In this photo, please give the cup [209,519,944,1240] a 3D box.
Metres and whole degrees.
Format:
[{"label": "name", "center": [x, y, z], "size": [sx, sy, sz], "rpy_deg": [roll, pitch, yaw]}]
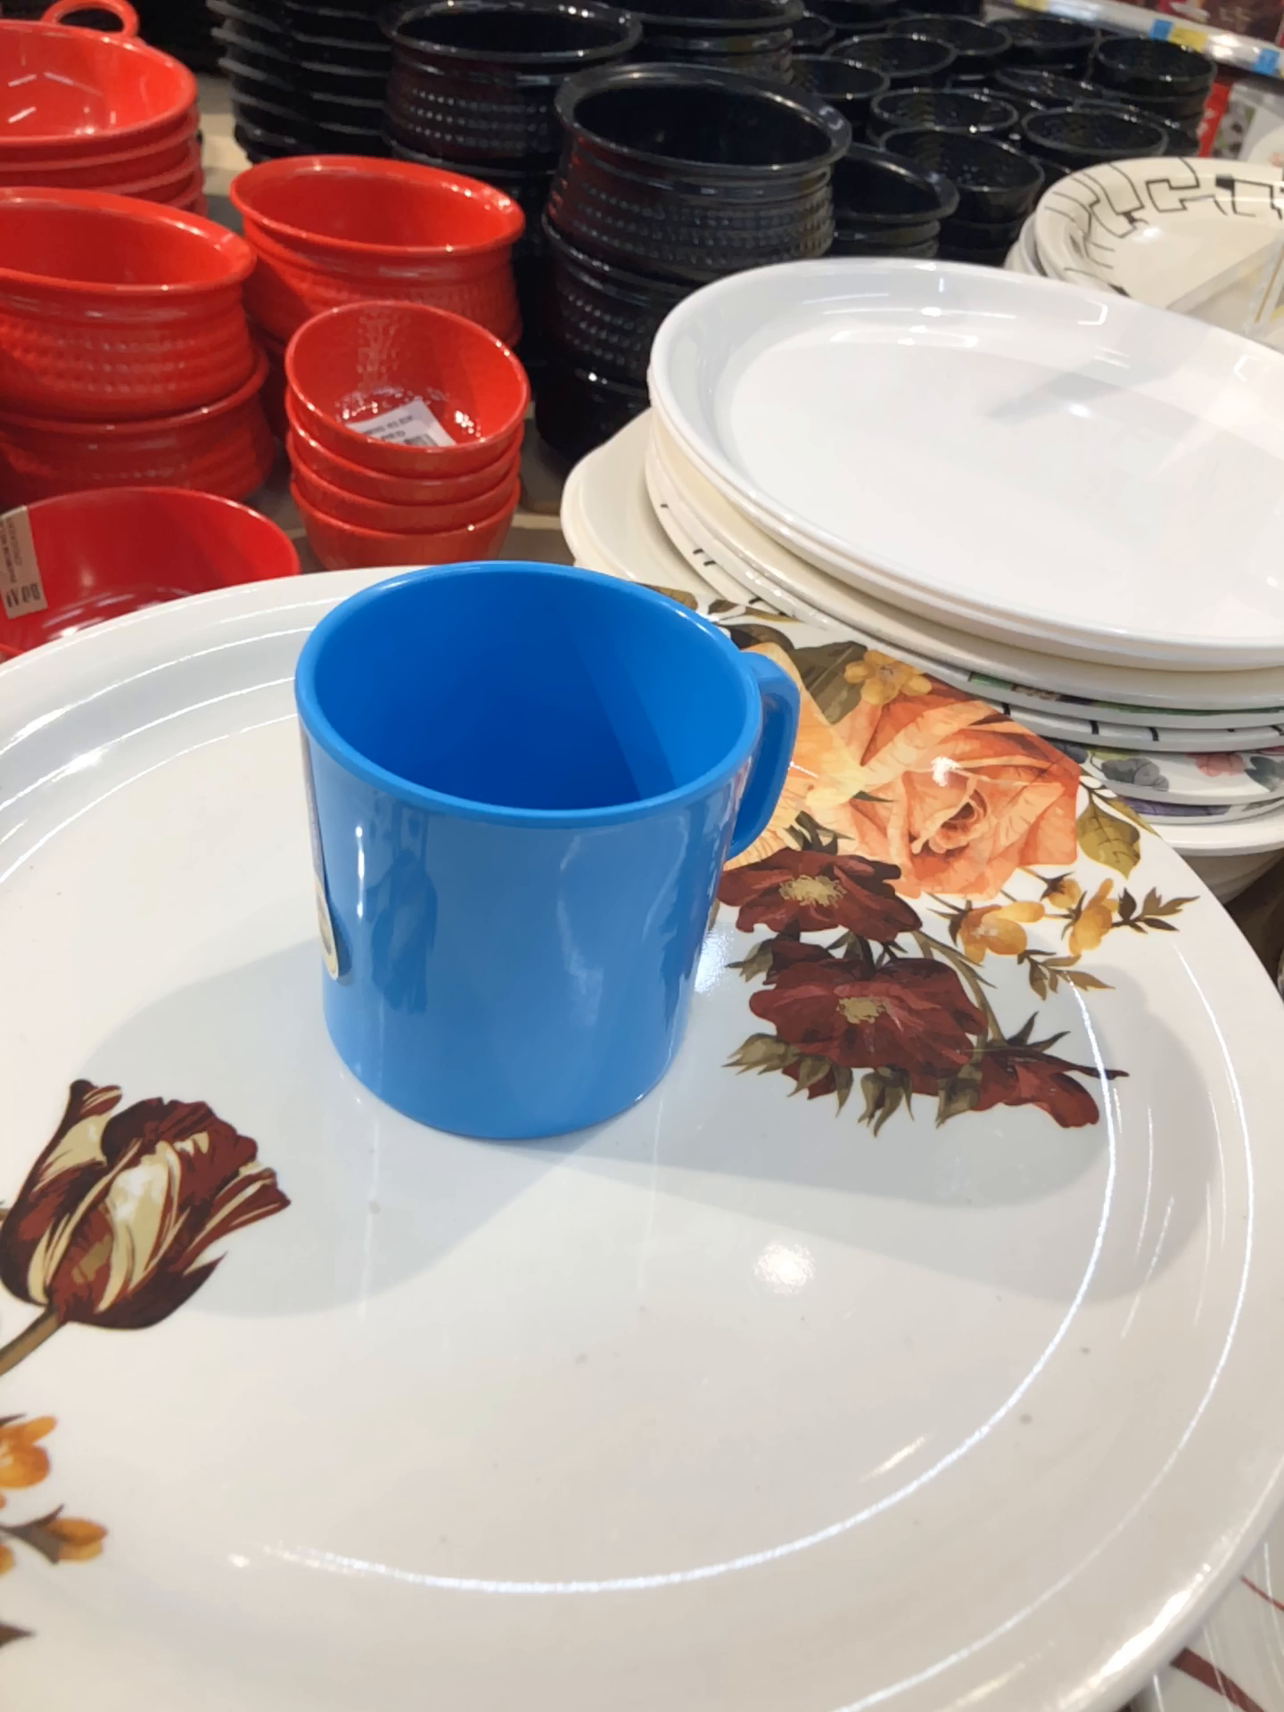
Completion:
[{"label": "cup", "center": [-0.016, 0.000, 0.291], "size": [0.110, 0.089, 0.080], "rpy_deg": [-18, 47, -26]}]
